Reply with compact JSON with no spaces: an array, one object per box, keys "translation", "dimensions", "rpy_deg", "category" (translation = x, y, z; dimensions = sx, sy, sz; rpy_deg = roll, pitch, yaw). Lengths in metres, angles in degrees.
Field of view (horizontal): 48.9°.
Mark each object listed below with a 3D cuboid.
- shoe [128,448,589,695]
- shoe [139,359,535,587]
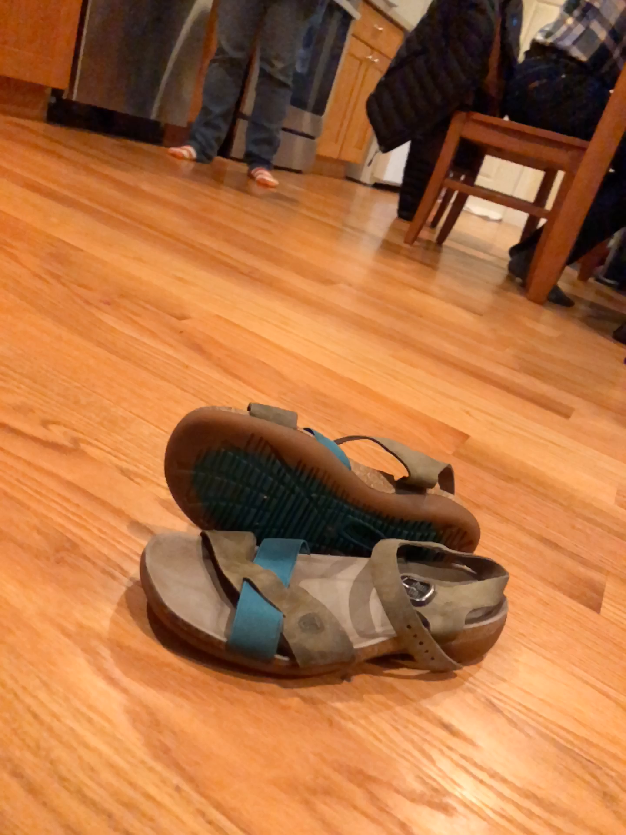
[{"translation":[0.022,0.093,0.406],"dimensions":[0.240,0.075,0.105],"rpy_deg":[10,24,-21],"category":"shoe"},{"translation":[0.015,0.043,0.463],"dimensions":[0.238,0.104,0.065],"rpy_deg":[10,23,-21],"category":"shoe"}]
